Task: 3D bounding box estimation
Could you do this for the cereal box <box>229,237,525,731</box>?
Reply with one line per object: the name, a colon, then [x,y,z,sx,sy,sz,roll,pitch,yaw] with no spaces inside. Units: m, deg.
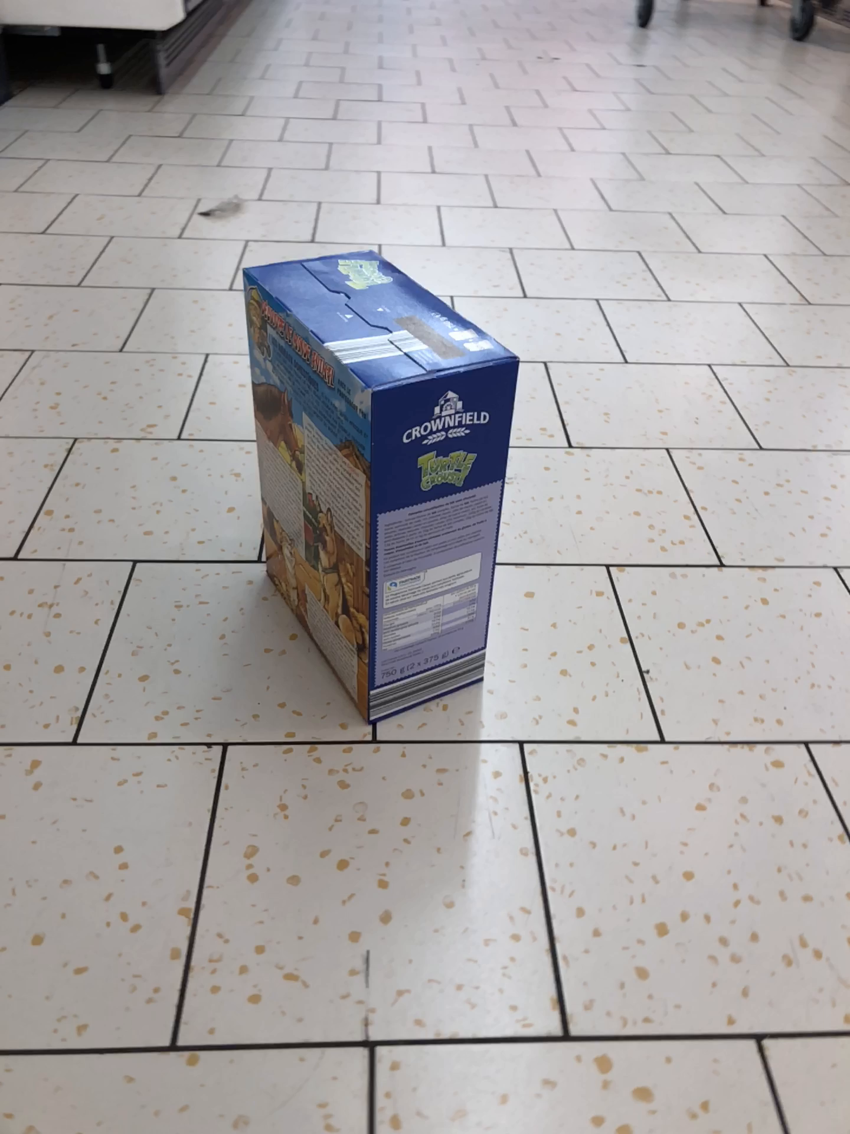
cereal box: [-0.042,-0.061,0.642,0.100,0.258,0.200,-17,41,-24]
